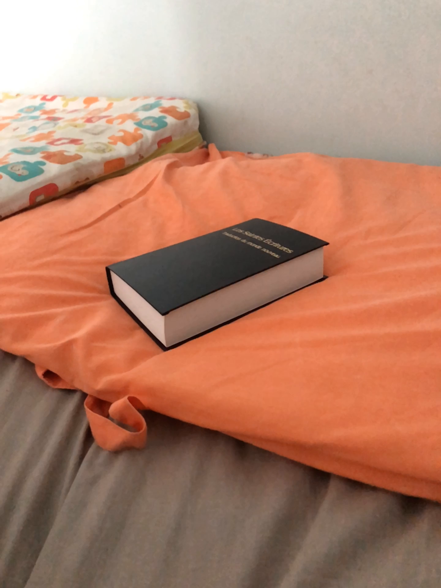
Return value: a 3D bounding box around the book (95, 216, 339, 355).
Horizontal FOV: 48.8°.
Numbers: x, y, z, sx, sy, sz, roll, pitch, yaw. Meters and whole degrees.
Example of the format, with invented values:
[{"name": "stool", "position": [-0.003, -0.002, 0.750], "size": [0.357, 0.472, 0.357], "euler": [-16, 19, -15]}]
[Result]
[{"name": "book", "position": [-0.005, -0.019, 0.429], "size": [0.174, 0.030, 0.127], "euler": [-23, 29, -24]}]
